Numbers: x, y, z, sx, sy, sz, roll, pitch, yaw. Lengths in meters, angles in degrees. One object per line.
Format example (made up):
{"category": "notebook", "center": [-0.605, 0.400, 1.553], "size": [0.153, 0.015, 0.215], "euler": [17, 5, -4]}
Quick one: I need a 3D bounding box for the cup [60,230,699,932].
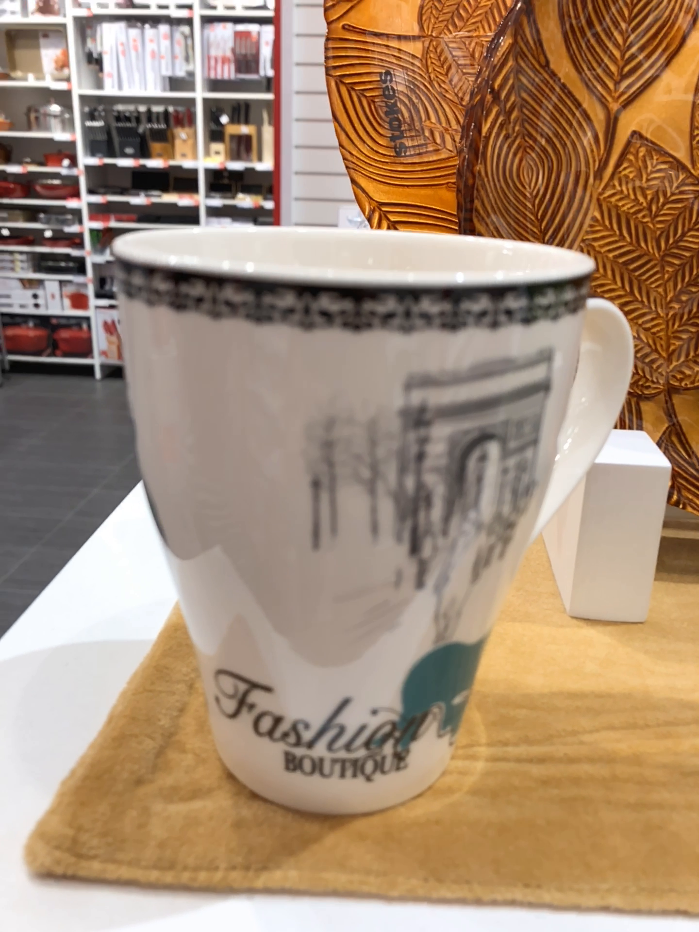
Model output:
{"category": "cup", "center": [0.010, 0.006, 0.161], "size": [0.110, 0.100, 0.080], "euler": [-9, 23, -28]}
